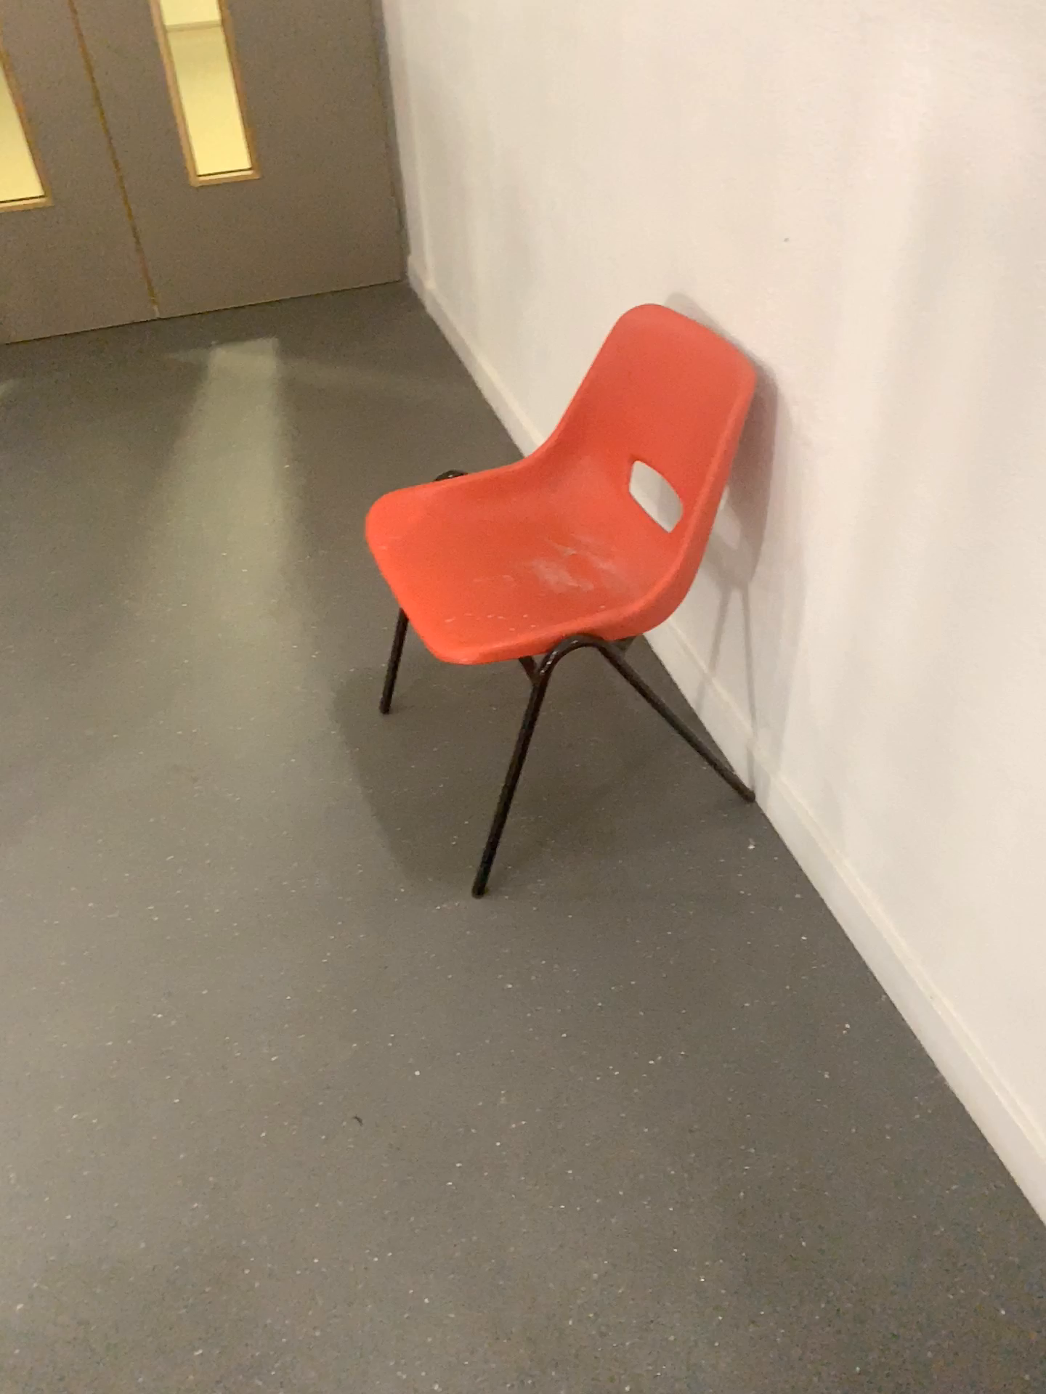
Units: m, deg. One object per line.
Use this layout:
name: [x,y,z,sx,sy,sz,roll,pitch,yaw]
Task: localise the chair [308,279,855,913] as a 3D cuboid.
chair: [0.074,-0.170,1.691,0.591,0.713,0.515,-18,43,-15]
